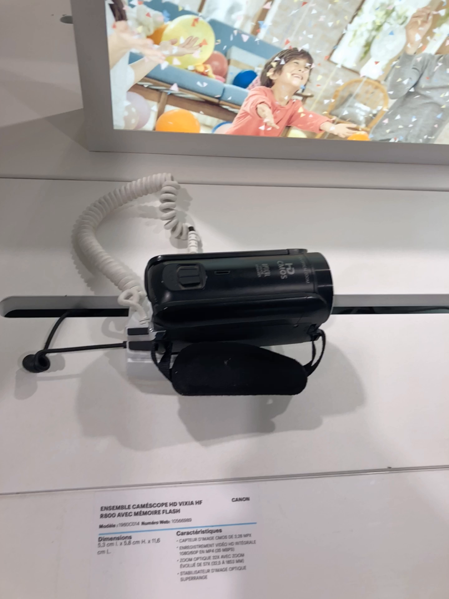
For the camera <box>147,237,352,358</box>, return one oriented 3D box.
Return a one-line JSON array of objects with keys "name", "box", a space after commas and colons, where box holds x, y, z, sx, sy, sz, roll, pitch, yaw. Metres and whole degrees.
[{"name": "camera", "box": [0.011, -0.002, 0.308, 0.113, 0.050, 0.050, -3, 55, -11]}]
